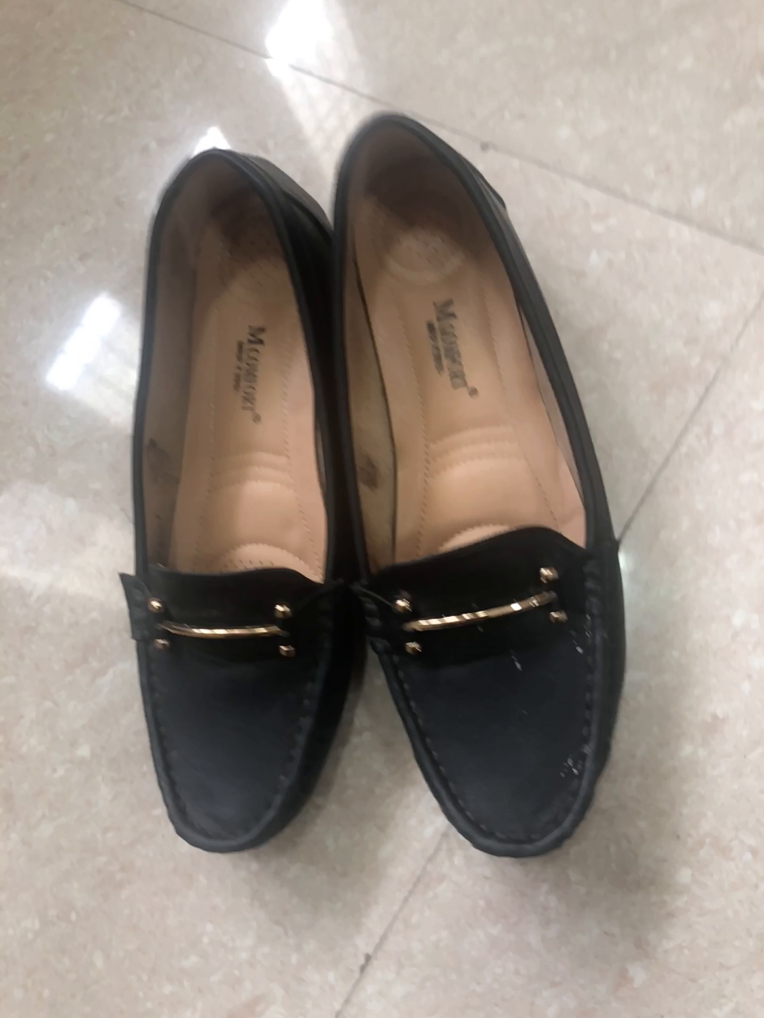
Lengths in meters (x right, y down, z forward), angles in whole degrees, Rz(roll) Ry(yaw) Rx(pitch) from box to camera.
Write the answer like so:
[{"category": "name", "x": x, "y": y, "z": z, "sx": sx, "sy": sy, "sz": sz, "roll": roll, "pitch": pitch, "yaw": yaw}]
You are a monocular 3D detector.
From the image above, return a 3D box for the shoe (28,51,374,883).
[{"category": "shoe", "x": -0.064, "y": -0.020, "z": 0.353, "sx": 0.100, "sy": 0.080, "sz": 0.310, "roll": -5, "pitch": 75, "yaw": 14}]

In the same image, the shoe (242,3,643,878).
[{"category": "shoe", "x": 0.019, "y": -0.031, "z": 0.338, "sx": 0.100, "sy": 0.080, "sz": 0.310, "roll": -11, "pitch": 74, "yaw": 12}]
